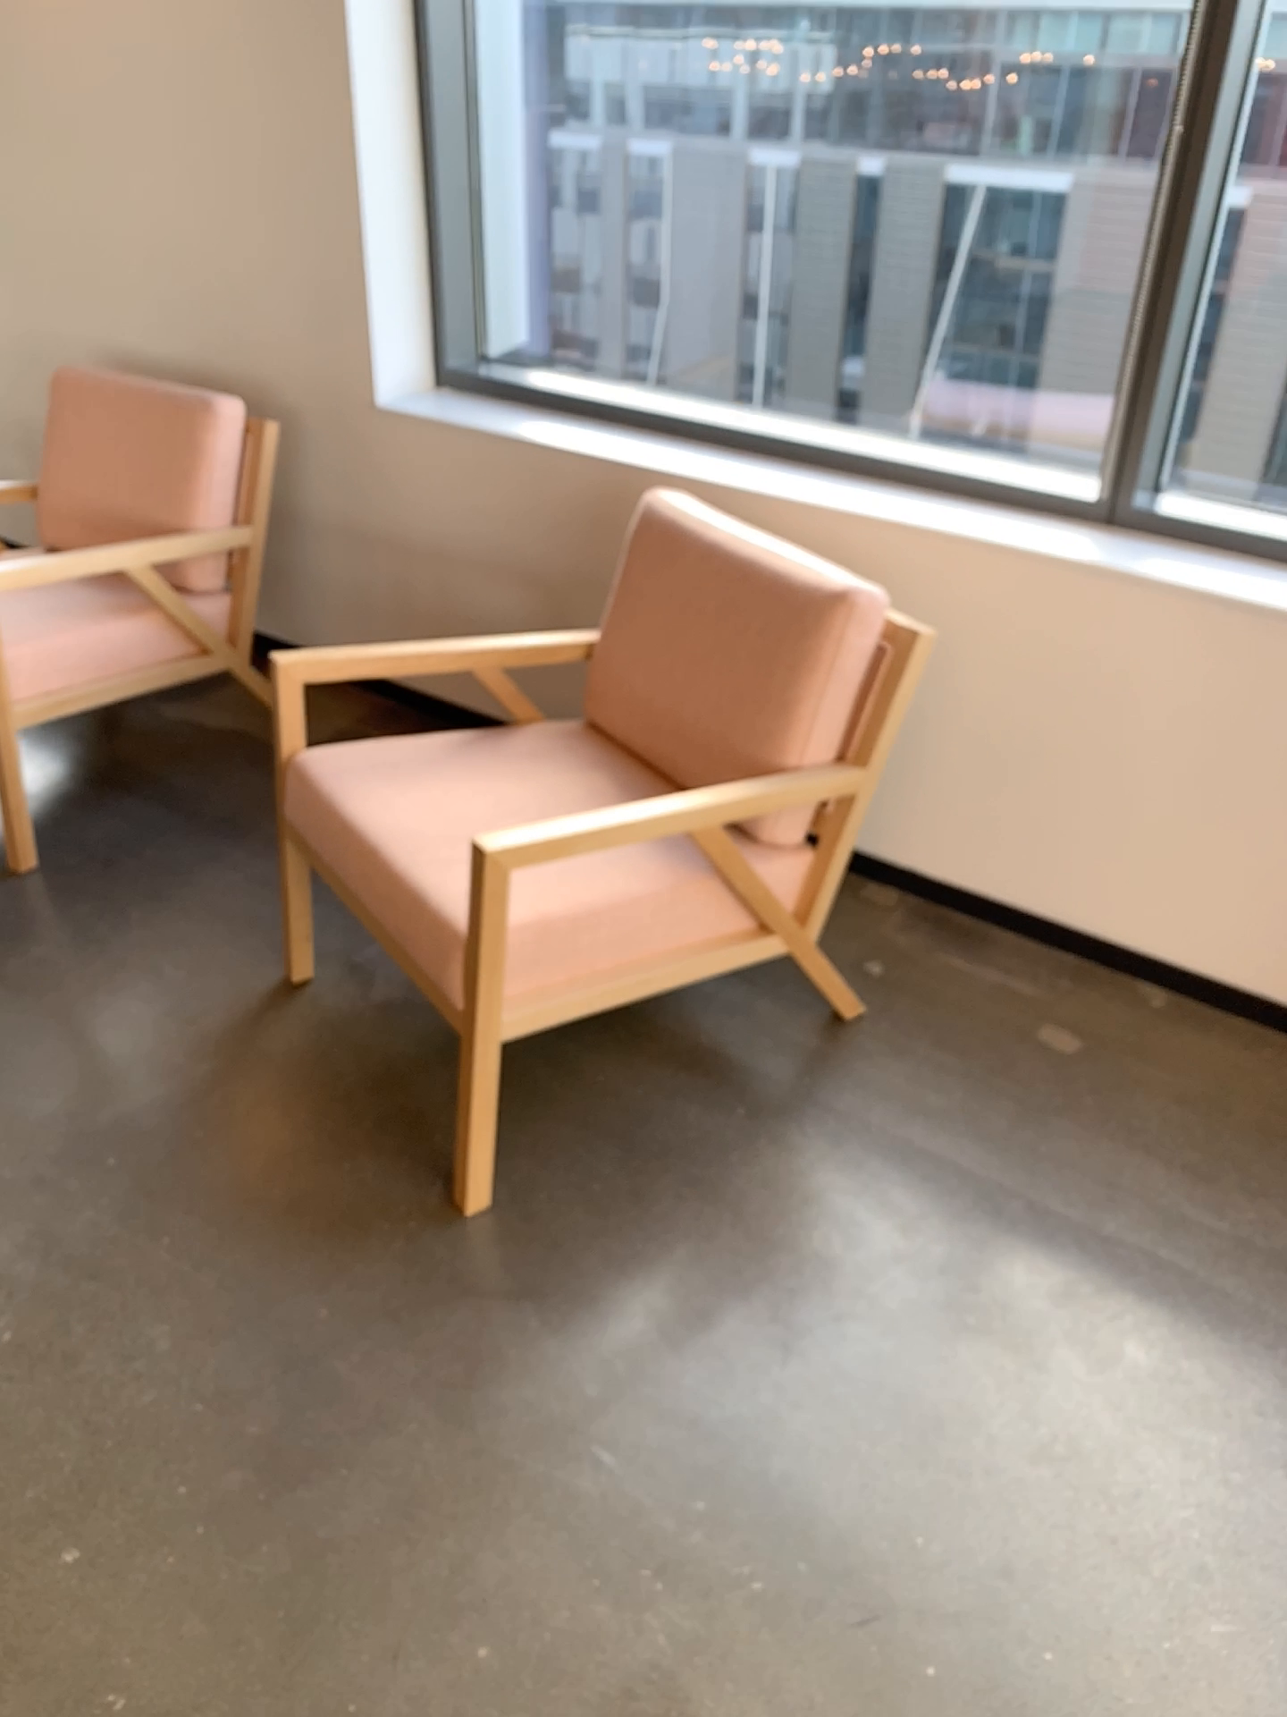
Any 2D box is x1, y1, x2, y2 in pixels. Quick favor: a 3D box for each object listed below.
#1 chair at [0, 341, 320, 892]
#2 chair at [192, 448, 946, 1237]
[{"bbox_3d":[-1.267,-0.556,2.799,0.742,0.795,0.772,21,37,29],"label":"chair"},{"bbox_3d":[-0.138,-0.098,2.053,0.770,0.795,0.744,-17,36,-30],"label":"chair"}]
